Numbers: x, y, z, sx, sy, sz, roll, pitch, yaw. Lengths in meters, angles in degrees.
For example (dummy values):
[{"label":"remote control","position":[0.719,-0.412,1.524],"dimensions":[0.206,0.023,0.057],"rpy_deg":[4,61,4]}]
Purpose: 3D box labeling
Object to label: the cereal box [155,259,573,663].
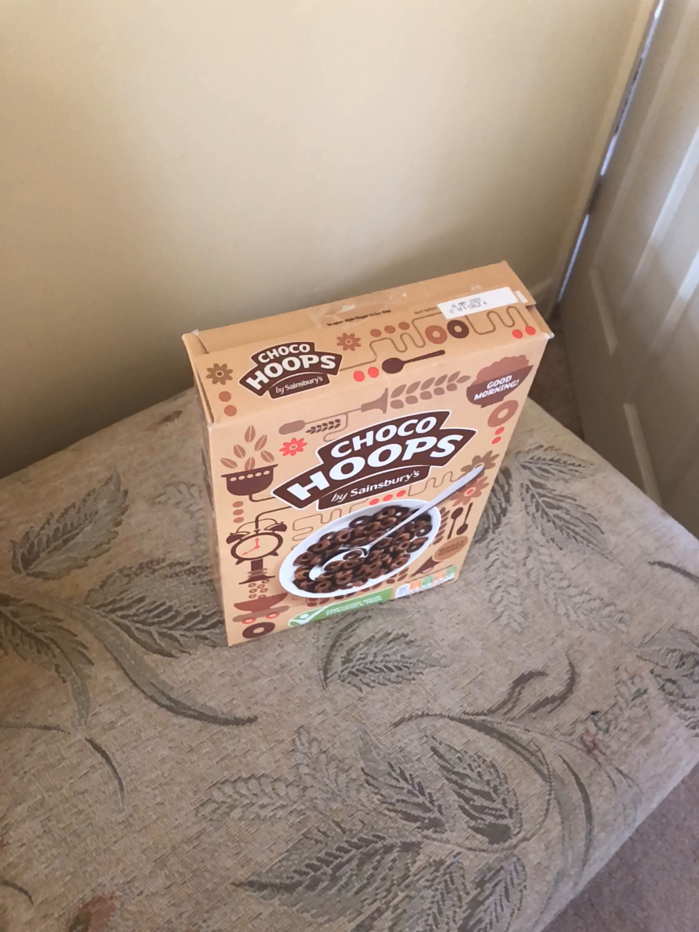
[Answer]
[{"label":"cereal box","position":[0.000,0.010,0.518],"dimensions":[0.210,0.258,0.080],"rpy_deg":[-15,55,-16]}]
